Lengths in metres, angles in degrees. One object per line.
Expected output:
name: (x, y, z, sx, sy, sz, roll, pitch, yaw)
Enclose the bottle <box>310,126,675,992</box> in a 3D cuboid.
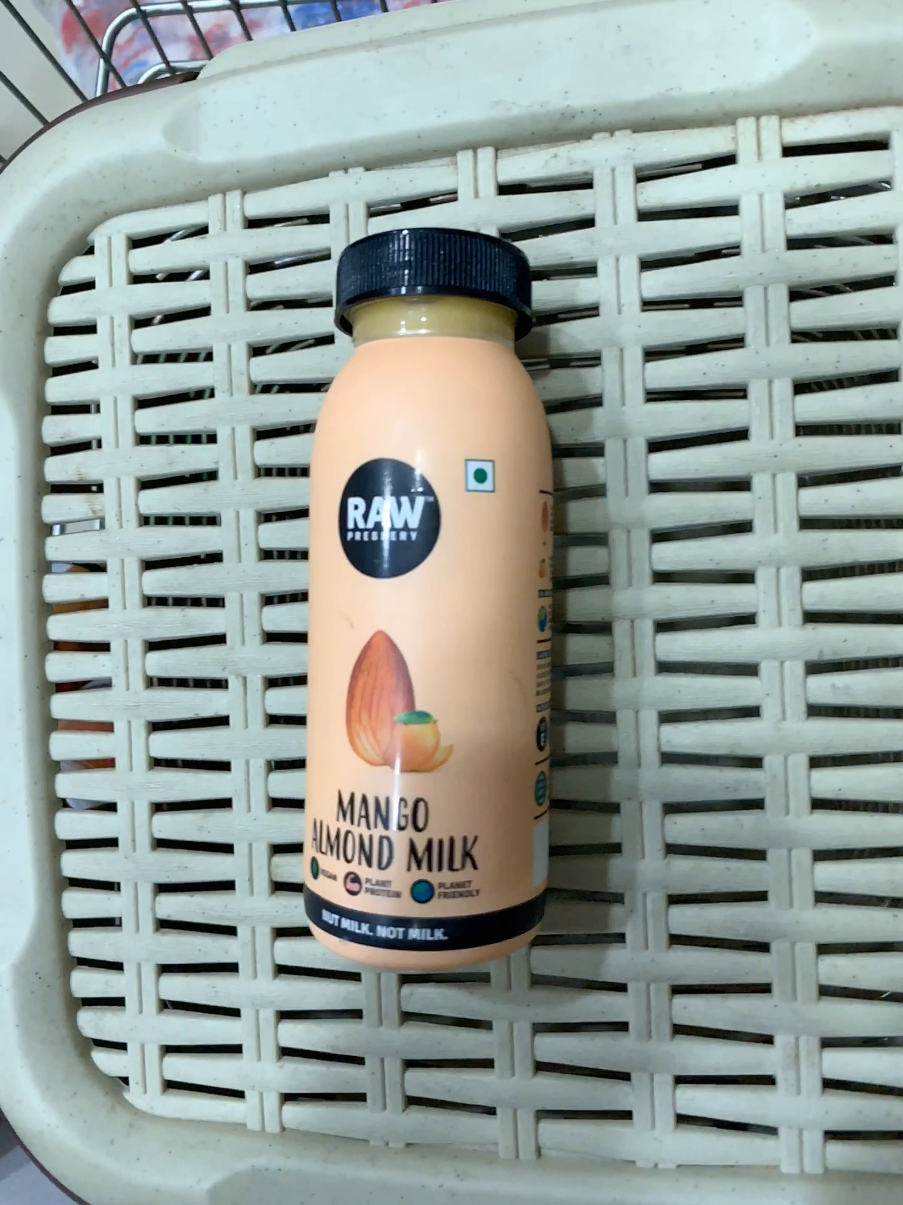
bottle: (0.009, -0.008, 0.187, 0.060, 0.040, 0.150, 2, 90, 9)
